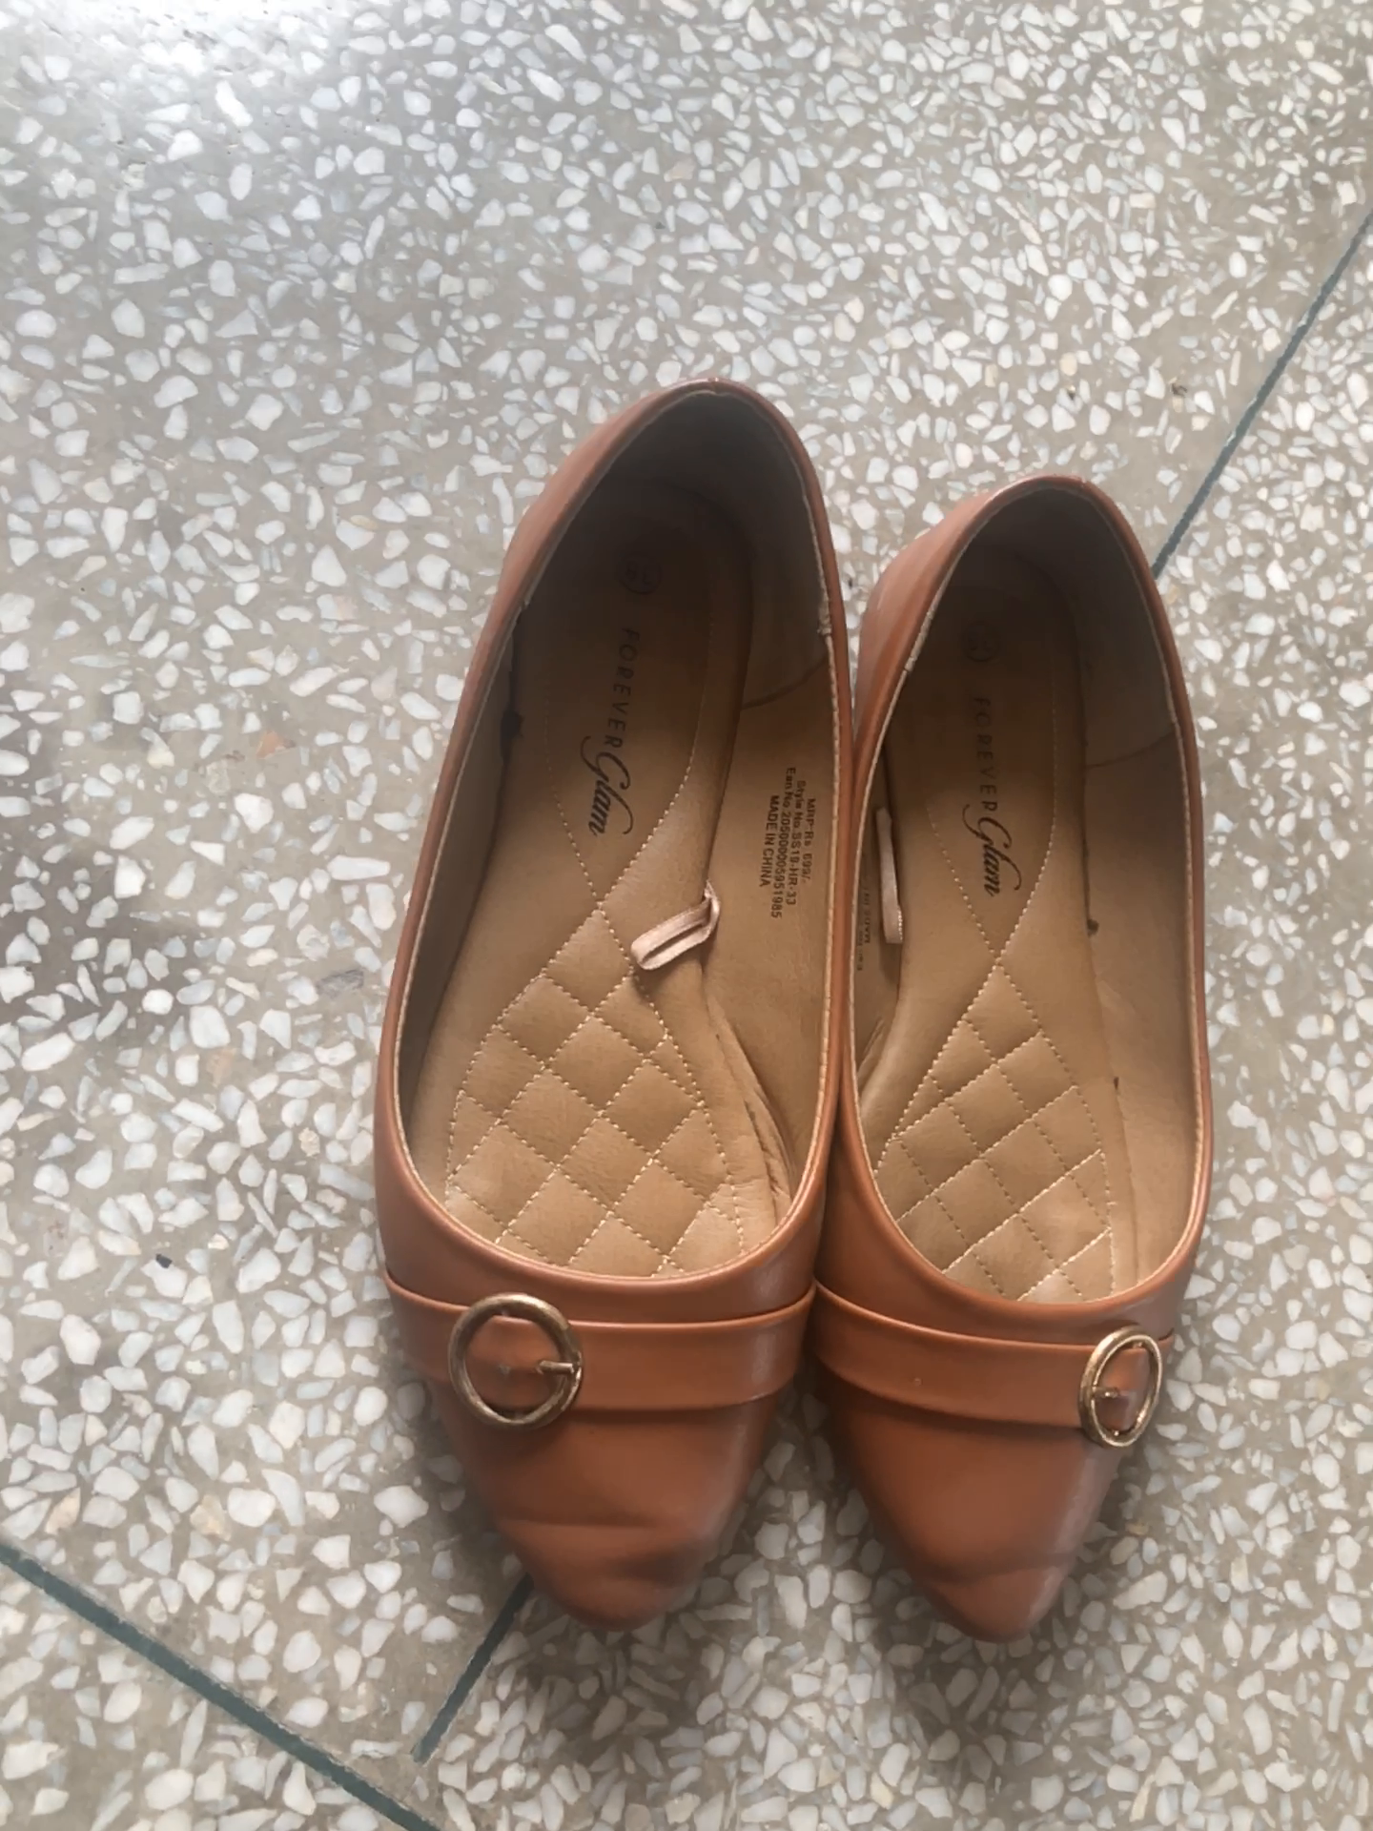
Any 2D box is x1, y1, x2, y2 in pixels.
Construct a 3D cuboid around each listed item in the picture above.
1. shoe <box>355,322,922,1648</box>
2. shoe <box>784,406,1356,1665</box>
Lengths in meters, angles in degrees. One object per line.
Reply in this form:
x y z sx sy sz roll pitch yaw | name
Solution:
-0.012 0.016 0.320 0.090 0.050 0.250 5 90 -9 | shoe
0.081 0.027 0.335 0.090 0.050 0.250 5 90 -9 | shoe
